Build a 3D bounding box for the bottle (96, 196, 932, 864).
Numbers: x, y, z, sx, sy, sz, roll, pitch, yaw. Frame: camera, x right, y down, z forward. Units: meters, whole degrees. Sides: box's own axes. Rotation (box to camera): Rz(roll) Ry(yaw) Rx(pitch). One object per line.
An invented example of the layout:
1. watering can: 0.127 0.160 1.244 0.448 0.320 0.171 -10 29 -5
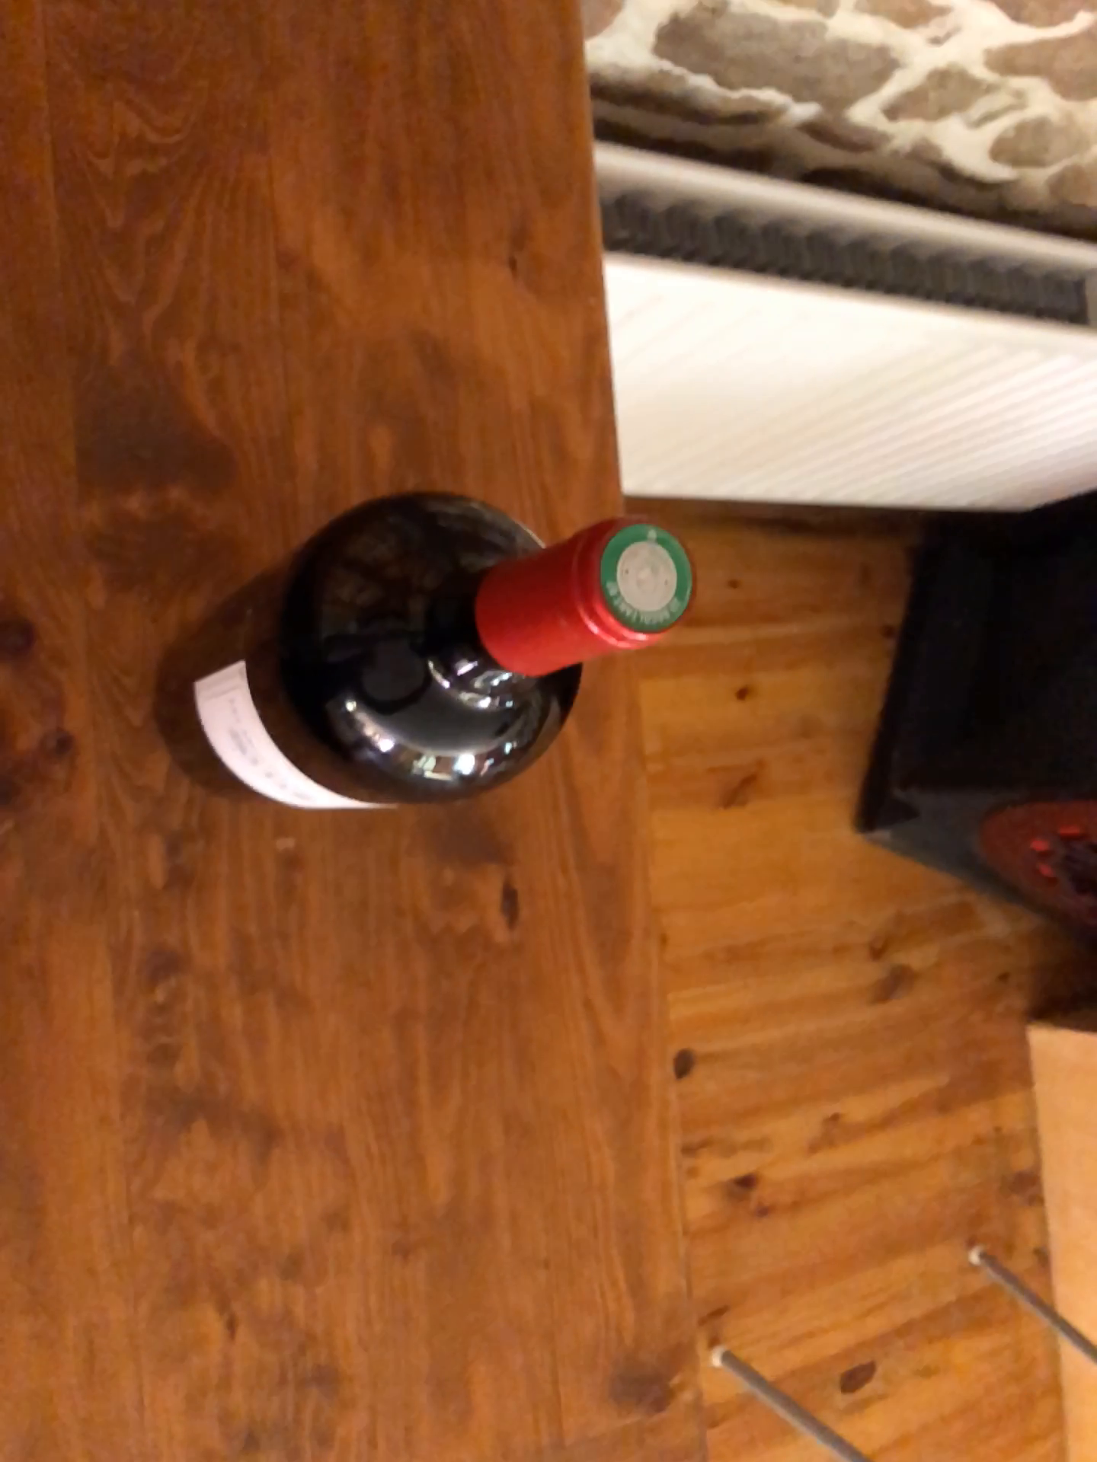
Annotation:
1. bottle: -0.053 -0.033 0.408 0.100 0.348 0.100 2 86 -28
